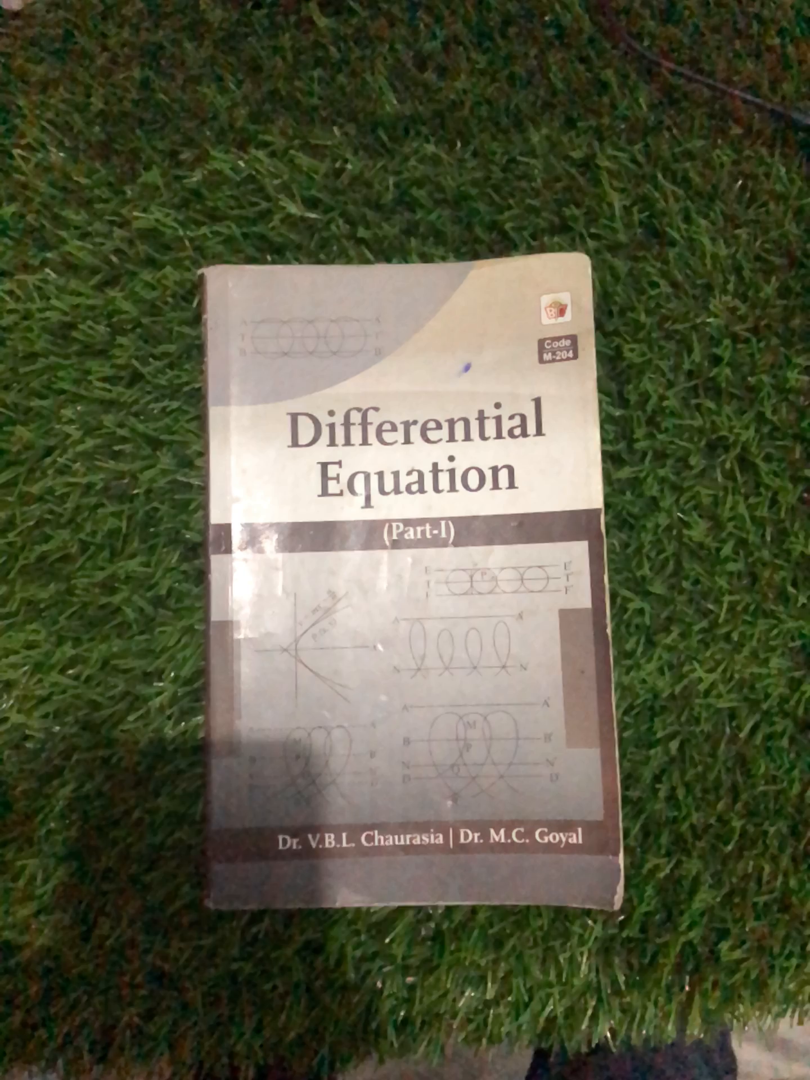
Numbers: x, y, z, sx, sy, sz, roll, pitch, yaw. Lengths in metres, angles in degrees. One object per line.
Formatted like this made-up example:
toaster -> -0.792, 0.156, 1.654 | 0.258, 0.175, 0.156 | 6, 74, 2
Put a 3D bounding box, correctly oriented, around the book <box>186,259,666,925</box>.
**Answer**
book -> 0.004, 0.012, 0.291 | 0.140, 0.030, 0.200 | -1, 83, -2
